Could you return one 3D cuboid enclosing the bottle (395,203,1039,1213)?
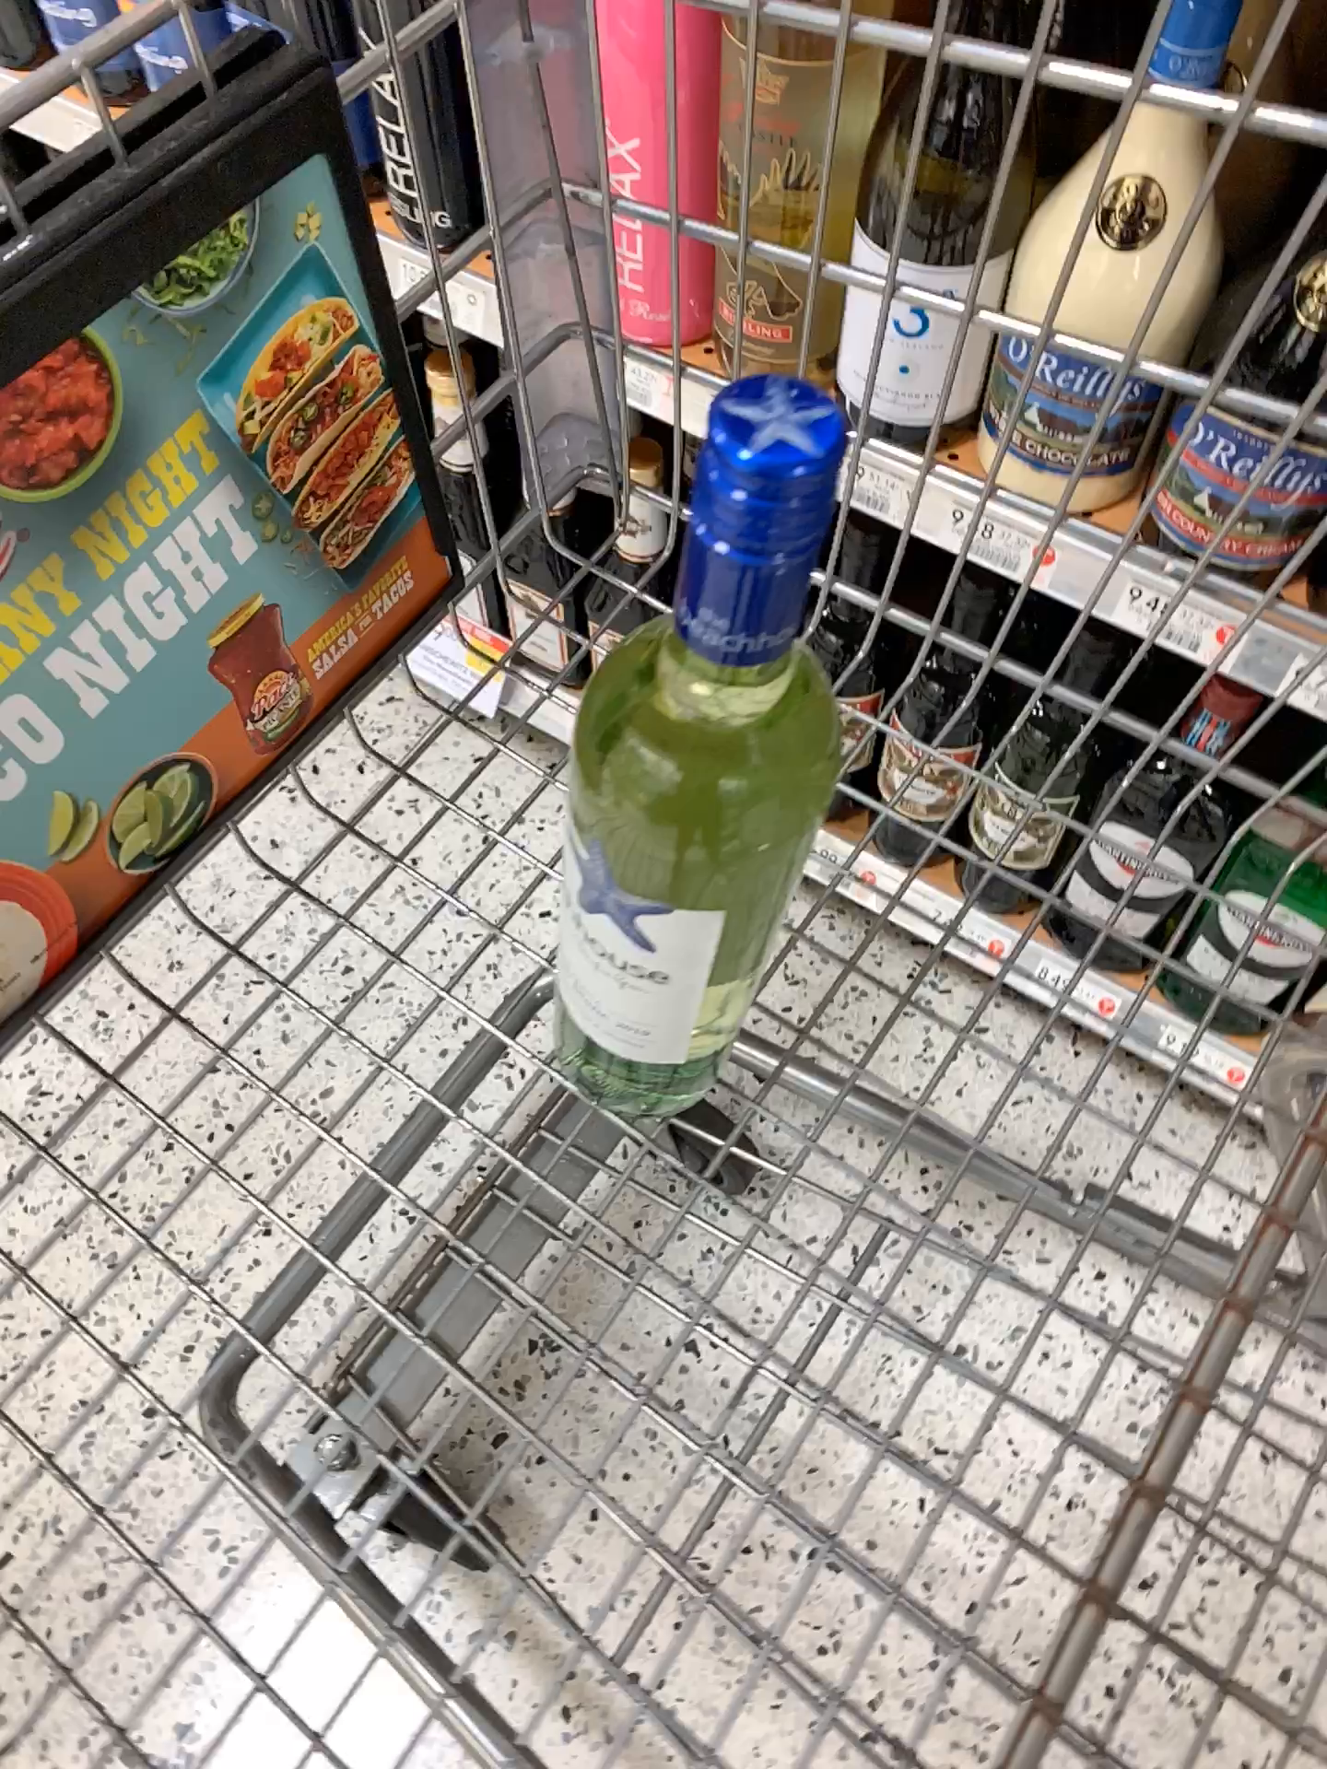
[{"bbox_3d":[0.003,-0.011,0.414,0.090,0.338,0.090,1,60,-2],"label":"bottle"}]
